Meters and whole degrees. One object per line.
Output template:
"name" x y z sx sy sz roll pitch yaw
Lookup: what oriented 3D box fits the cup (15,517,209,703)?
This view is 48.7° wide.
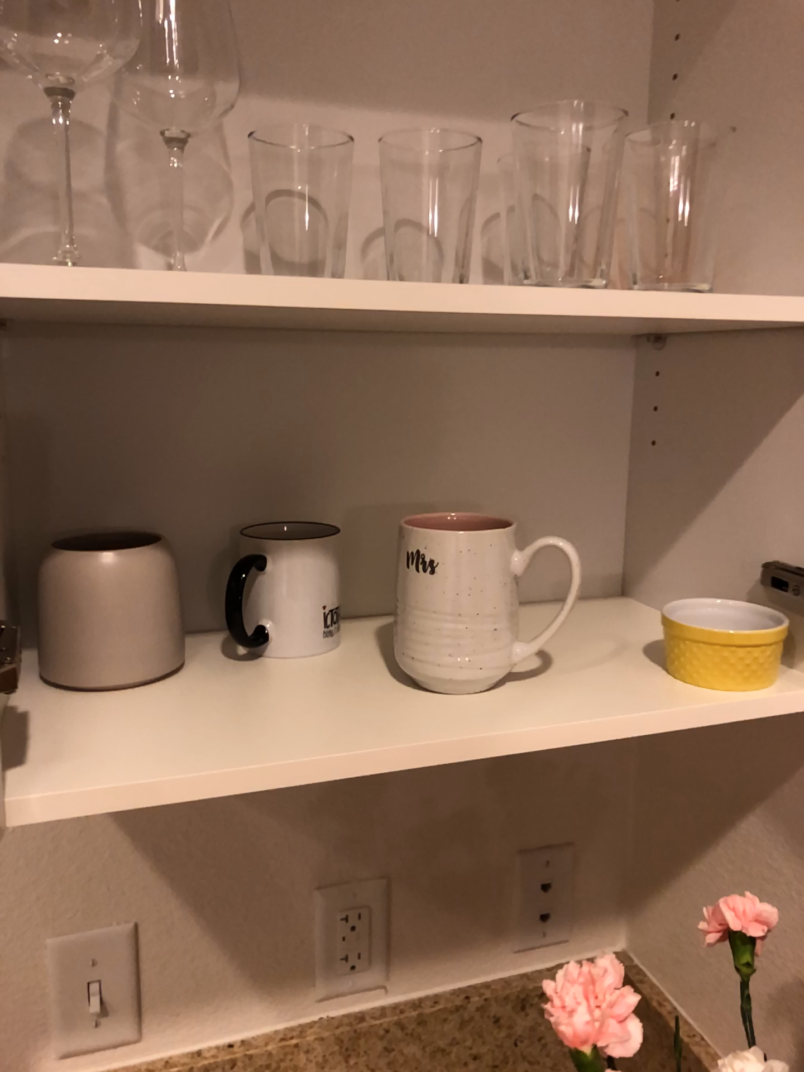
"cup" -0.215 0.045 0.648 0.110 0.090 0.150 -5 11 -26

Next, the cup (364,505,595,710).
"cup" 0.055 0.043 0.609 0.140 0.110 0.090 3 10 16

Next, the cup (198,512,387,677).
"cup" -0.078 0.038 0.661 0.090 0.090 0.110 6 11 29
